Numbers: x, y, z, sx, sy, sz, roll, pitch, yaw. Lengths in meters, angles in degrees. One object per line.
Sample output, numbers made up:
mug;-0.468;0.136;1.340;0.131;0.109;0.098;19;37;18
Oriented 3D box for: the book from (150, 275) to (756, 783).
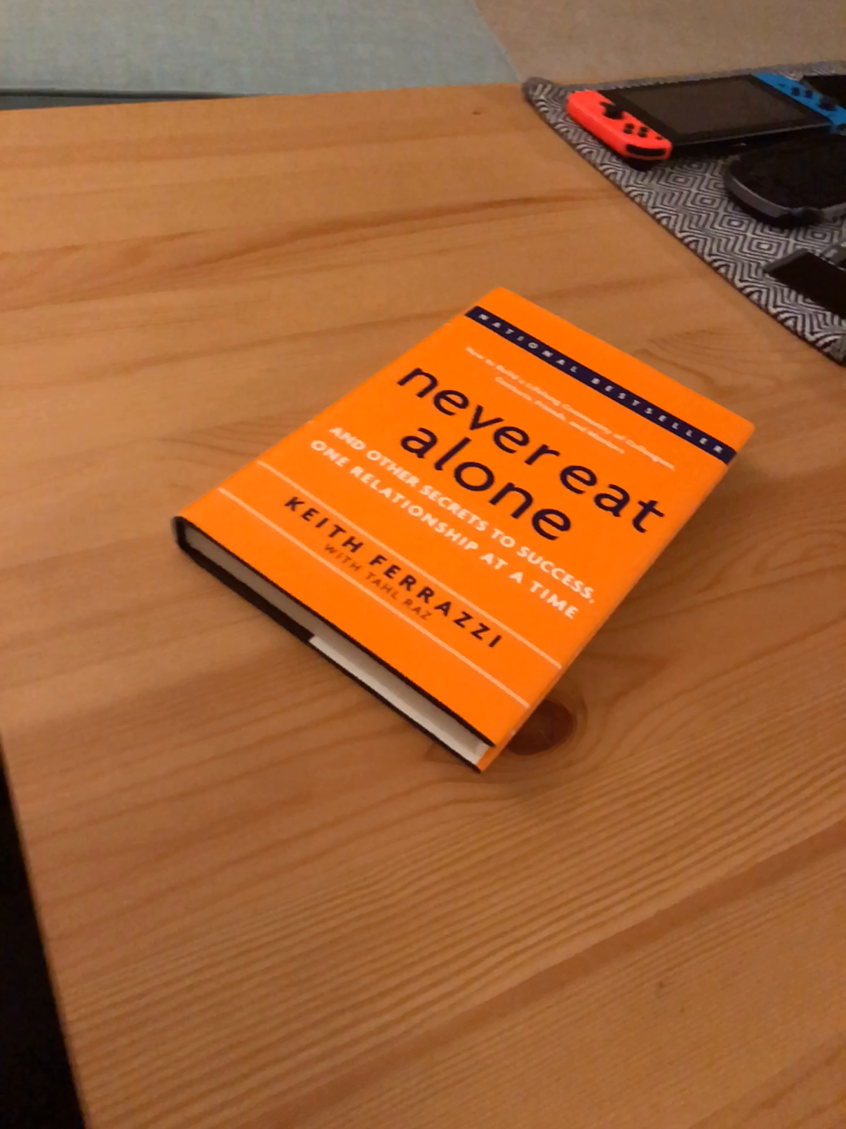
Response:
book;0.026;-0.040;0.426;0.166;0.025;0.241;34;52;17
